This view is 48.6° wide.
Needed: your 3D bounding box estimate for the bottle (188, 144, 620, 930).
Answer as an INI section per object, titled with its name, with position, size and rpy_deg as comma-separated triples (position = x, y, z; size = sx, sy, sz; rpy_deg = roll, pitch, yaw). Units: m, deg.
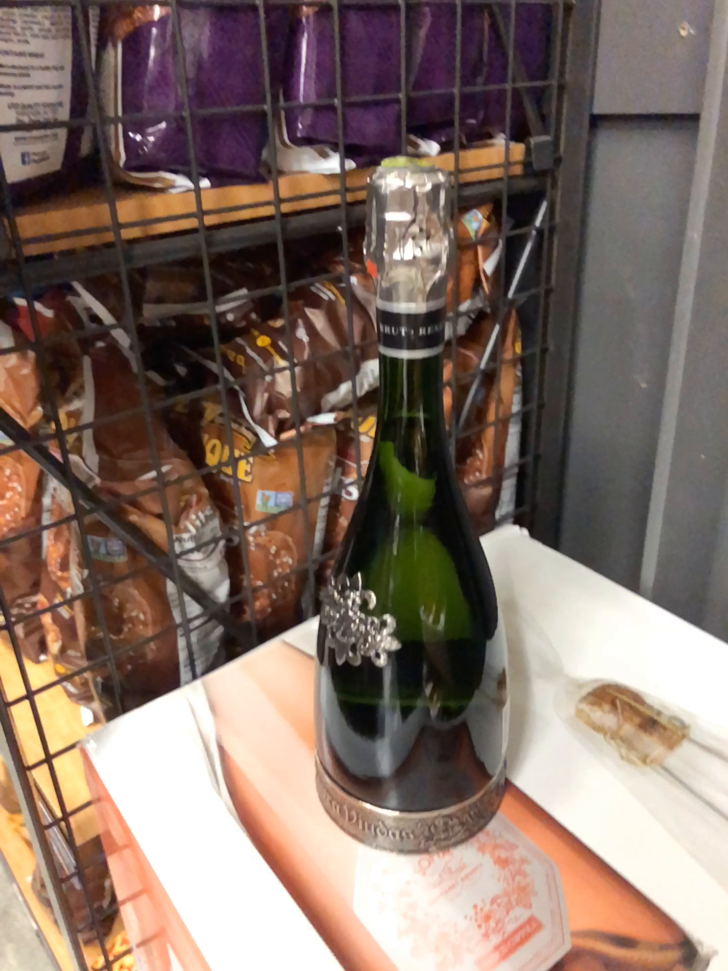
[bottle]
position = 0.022, 0.024, 0.381
size = 0.122, 0.332, 0.110
rpy_deg = 20, 34, 38
